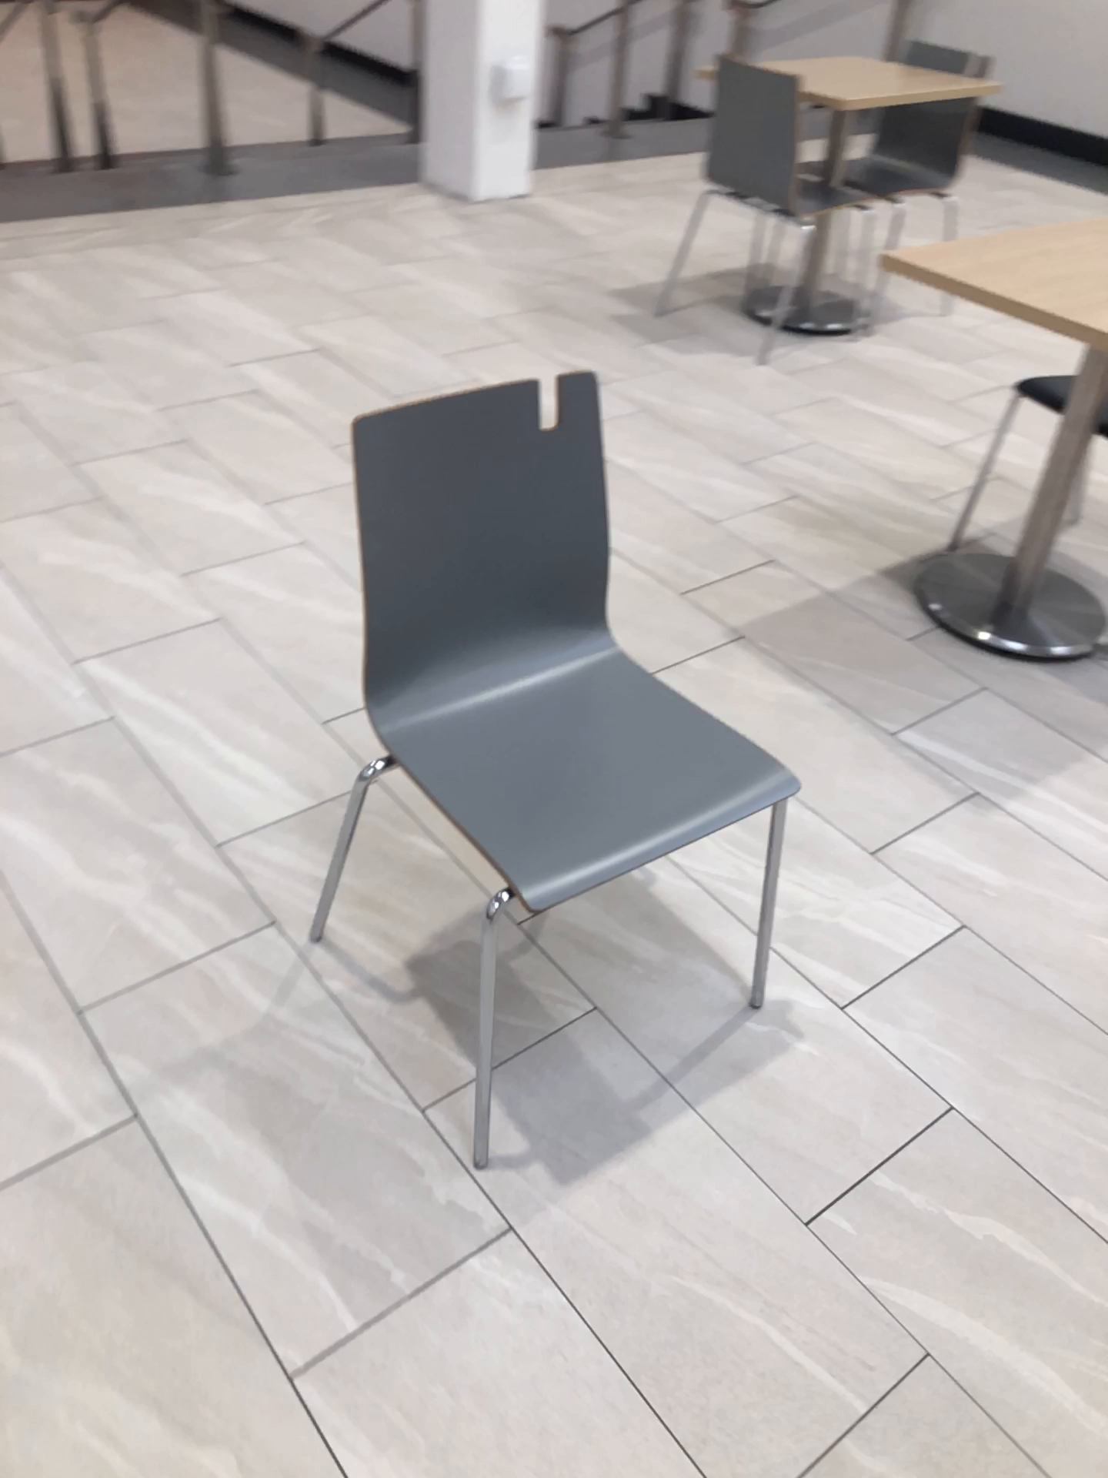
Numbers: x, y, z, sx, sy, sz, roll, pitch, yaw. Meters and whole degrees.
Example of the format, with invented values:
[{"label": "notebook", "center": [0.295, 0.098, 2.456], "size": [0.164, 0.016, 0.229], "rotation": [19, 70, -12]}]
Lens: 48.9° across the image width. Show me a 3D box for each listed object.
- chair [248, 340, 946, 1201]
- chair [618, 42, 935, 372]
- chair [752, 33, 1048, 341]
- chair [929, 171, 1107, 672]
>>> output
[{"label": "chair", "center": [0.005, 0.019, 1.502], "size": [0.525, 0.787, 0.516], "rotation": [-21, 44, -30]}, {"label": "chair", "center": [0.616, -1.551, 3.521], "size": [0.537, 0.708, 0.575], "rotation": [-27, 48, -36]}, {"label": "chair", "center": [1.052, -1.737, 3.814], "size": [0.486, 0.737, 0.555], "rotation": [-21, 45, -31]}, {"label": "chair", "center": [1.231, -0.648, 2.444], "size": [0.536, 0.777, 0.516], "rotation": [-15, 42, -26]}]
